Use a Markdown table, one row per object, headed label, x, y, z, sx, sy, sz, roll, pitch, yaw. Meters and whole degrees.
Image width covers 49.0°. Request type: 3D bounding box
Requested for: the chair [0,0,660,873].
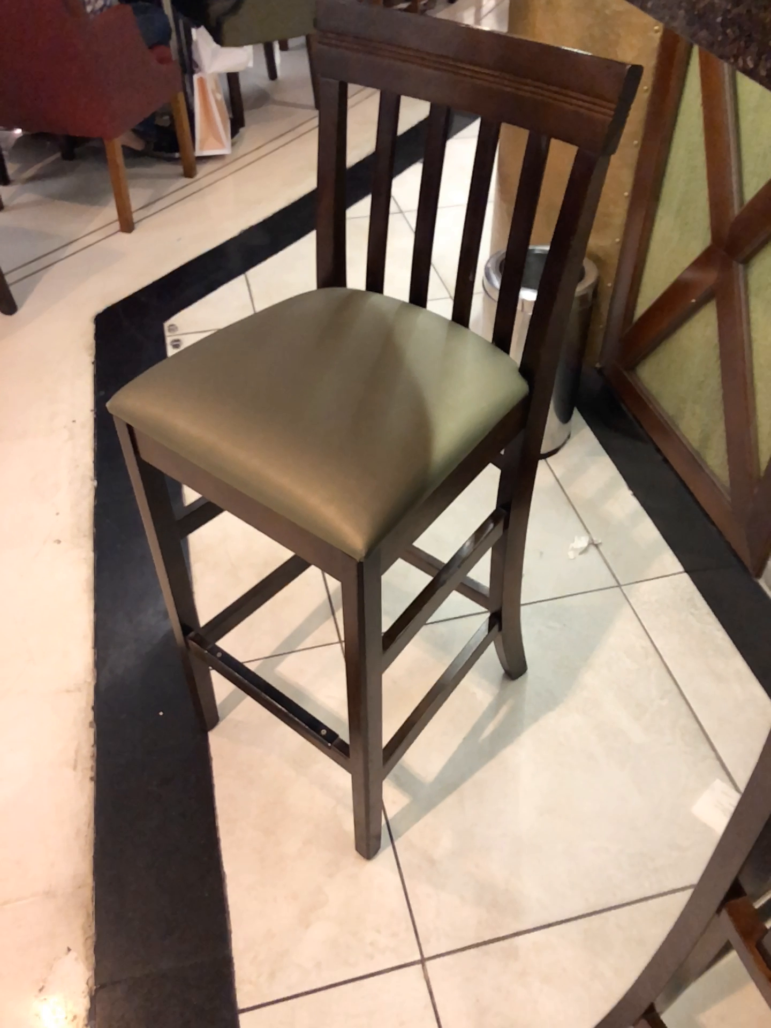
| label | x | y | z | sx | sy | sz | roll | pitch | yaw |
| --- | --- | --- | --- | --- | --- | --- | --- | --- | --- |
| chair | -0.050 | -0.054 | 1.182 | 0.461 | 1.033 | 0.492 | 29 | 51 | 27 |
